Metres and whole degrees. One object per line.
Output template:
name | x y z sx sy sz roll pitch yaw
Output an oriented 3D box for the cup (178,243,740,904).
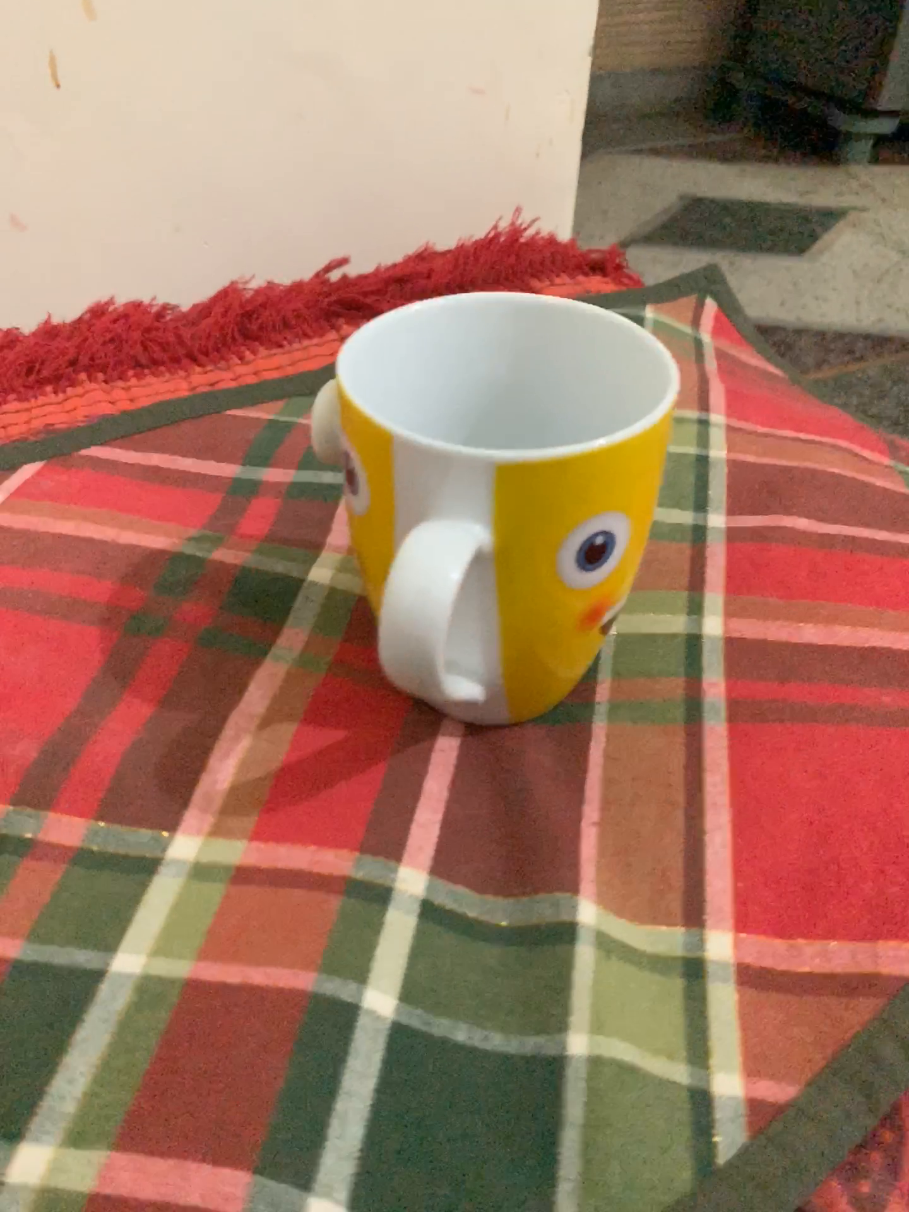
cup | 0.010 -0.016 0.215 0.080 0.080 0.120 14 43 12
